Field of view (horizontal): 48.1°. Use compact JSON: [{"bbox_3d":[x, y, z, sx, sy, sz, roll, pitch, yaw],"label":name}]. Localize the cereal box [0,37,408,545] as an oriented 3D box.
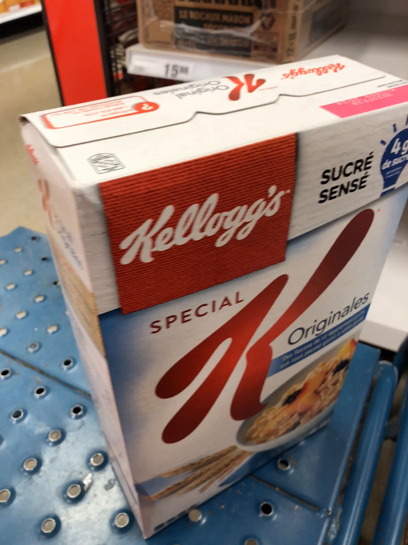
[{"bbox_3d":[0.014,0.025,0.310,0.210,0.299,0.080,-21,43,-24],"label":"cereal box"}]
